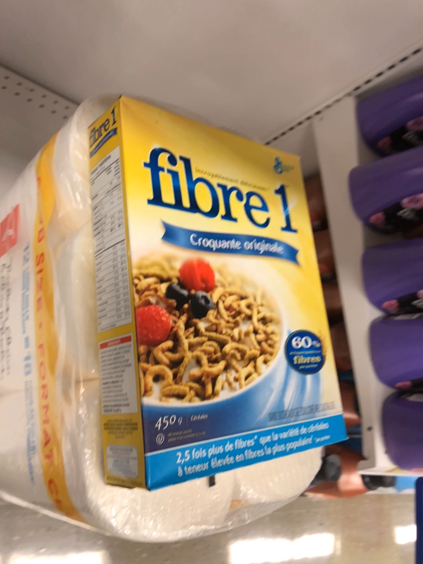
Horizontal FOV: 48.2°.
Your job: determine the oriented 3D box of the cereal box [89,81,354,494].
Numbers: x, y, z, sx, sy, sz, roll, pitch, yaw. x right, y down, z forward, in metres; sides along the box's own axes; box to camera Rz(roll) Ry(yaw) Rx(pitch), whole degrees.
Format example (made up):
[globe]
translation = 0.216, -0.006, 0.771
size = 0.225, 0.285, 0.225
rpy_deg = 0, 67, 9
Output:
[cereal box]
translation = 0.013, 0.005, 0.378
size = 0.201, 0.060, 0.260
rpy_deg = 4, 76, -39
